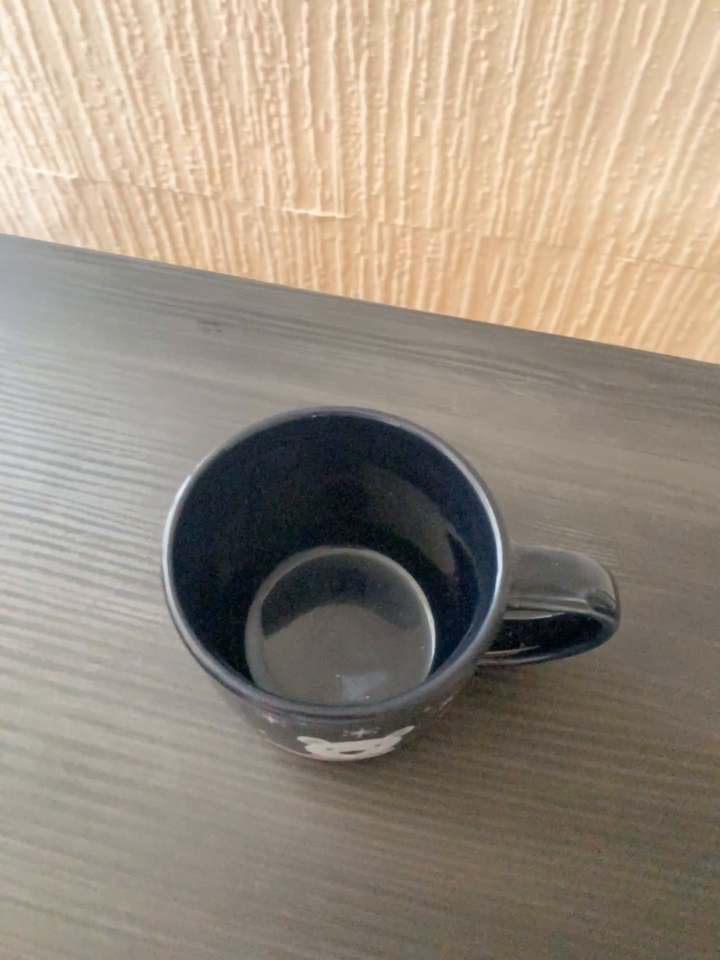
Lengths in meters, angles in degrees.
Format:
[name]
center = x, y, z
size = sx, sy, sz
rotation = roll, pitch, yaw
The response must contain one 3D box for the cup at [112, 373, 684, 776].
[cup]
center = 0.009, 0.030, 0.225
size = 0.130, 0.070, 0.101
rotation = 1, 59, 0
